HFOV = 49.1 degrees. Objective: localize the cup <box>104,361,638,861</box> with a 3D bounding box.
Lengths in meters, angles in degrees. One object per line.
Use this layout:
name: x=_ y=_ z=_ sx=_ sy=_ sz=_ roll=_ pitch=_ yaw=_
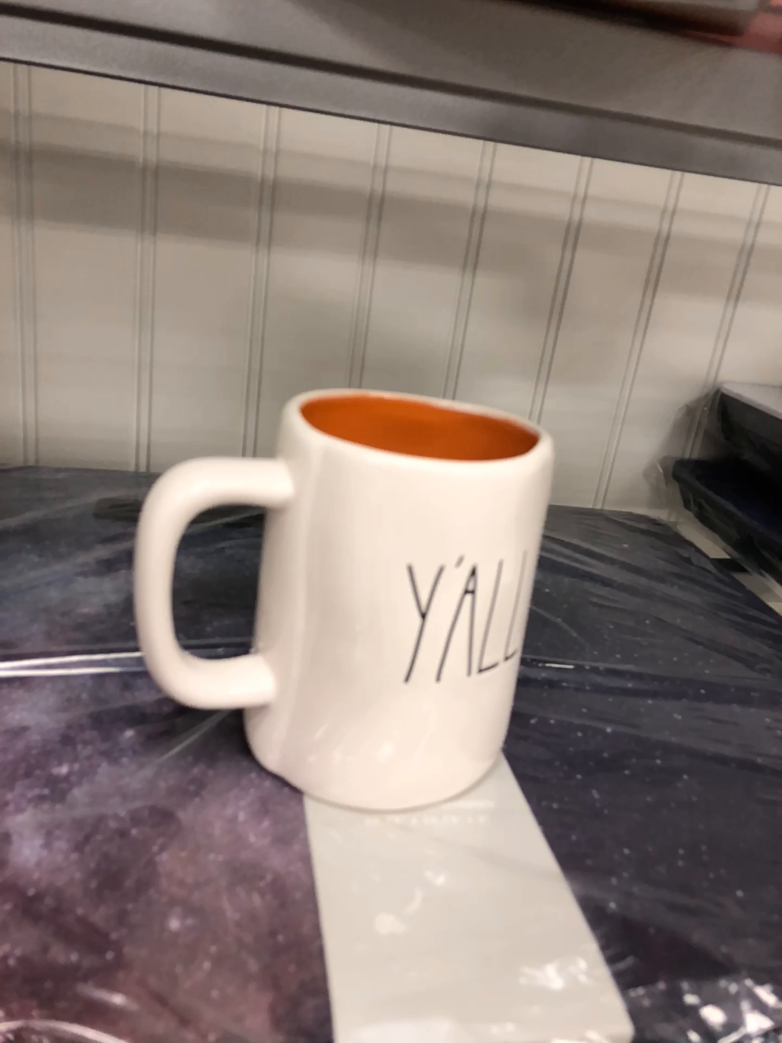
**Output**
cup: x=-0.017 y=0.020 z=0.282 sx=0.140 sy=0.119 sz=0.091 roll=-1 pitch=23 yaw=-22
